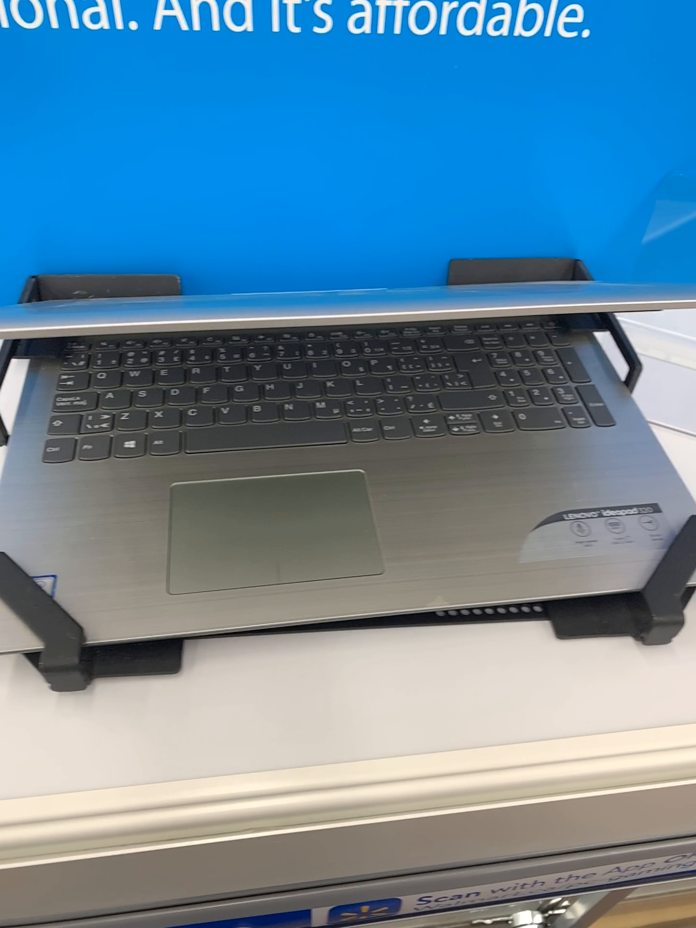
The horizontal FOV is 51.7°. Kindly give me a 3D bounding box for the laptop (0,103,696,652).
[{"bbox_3d":[0.001,-0.059,0.326,0.324,0.110,0.220,-4,48,-9],"label":"laptop"}]
